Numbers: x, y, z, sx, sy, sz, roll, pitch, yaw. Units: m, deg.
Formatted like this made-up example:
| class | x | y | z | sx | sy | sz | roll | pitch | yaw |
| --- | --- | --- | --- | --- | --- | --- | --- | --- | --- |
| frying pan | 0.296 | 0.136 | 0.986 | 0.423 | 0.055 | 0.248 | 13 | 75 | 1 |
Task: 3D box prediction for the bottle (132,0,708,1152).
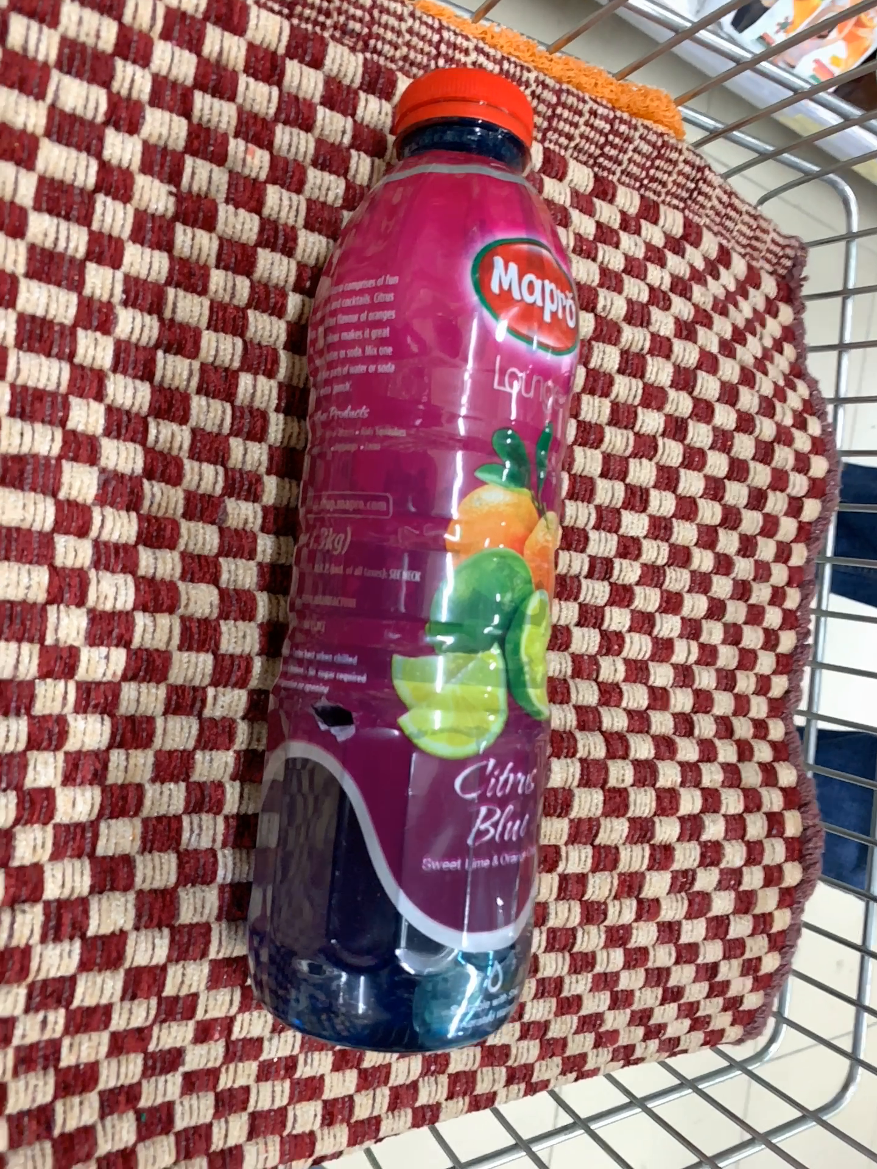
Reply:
| class | x | y | z | sx | sy | sz | roll | pitch | yaw |
| --- | --- | --- | --- | --- | --- | --- | --- | --- | --- |
| bottle | -0.004 | -0.005 | 0.240 | 0.090 | 0.070 | 0.250 | 8 | 92 | -43 |
